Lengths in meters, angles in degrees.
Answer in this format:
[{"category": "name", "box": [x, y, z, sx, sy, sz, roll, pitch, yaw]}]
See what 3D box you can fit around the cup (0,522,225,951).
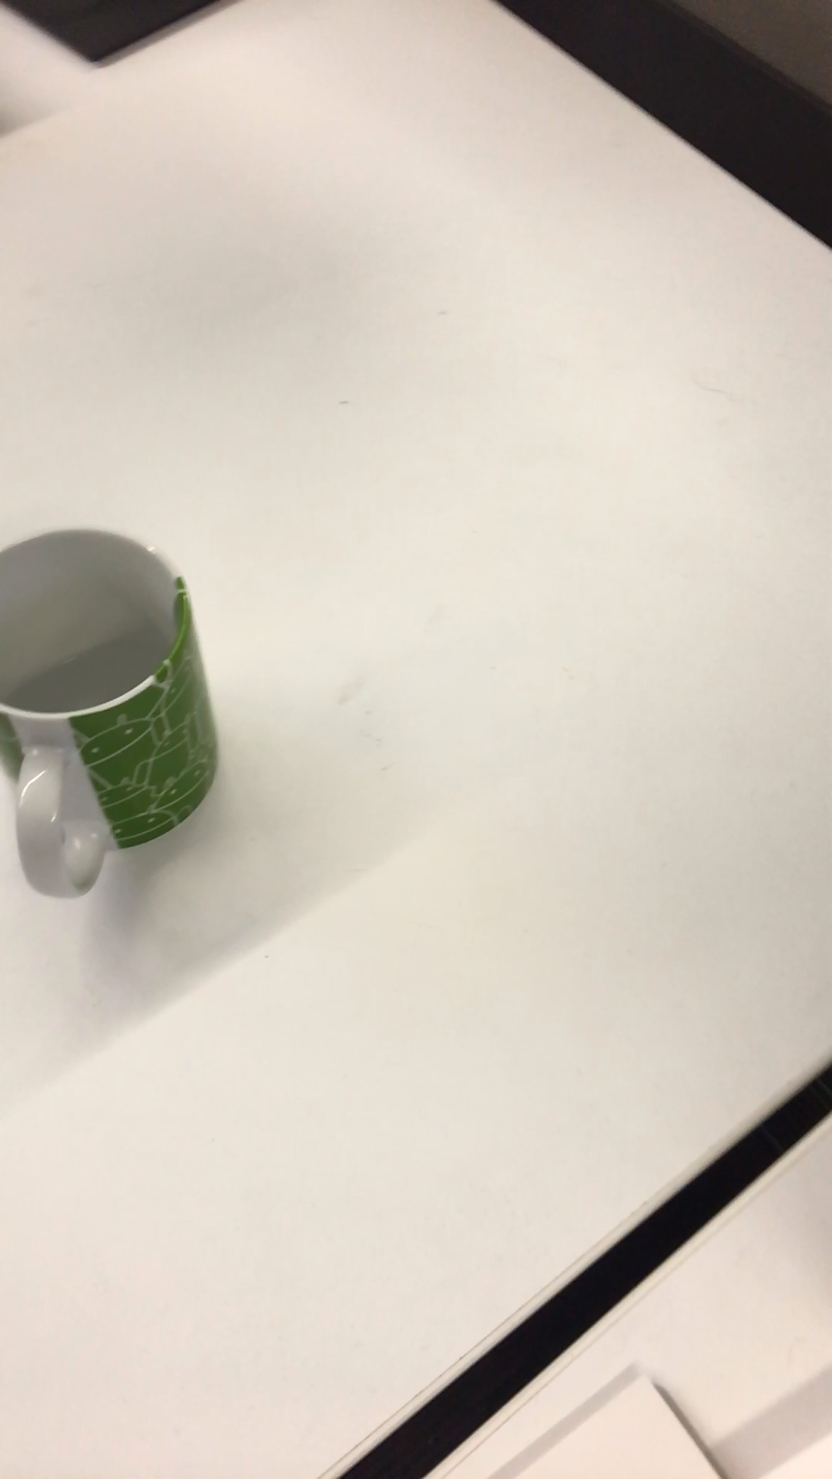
[{"category": "cup", "box": [-0.121, 0.000, 0.432, 0.090, 0.090, 0.120, 0, 59, -1]}]
